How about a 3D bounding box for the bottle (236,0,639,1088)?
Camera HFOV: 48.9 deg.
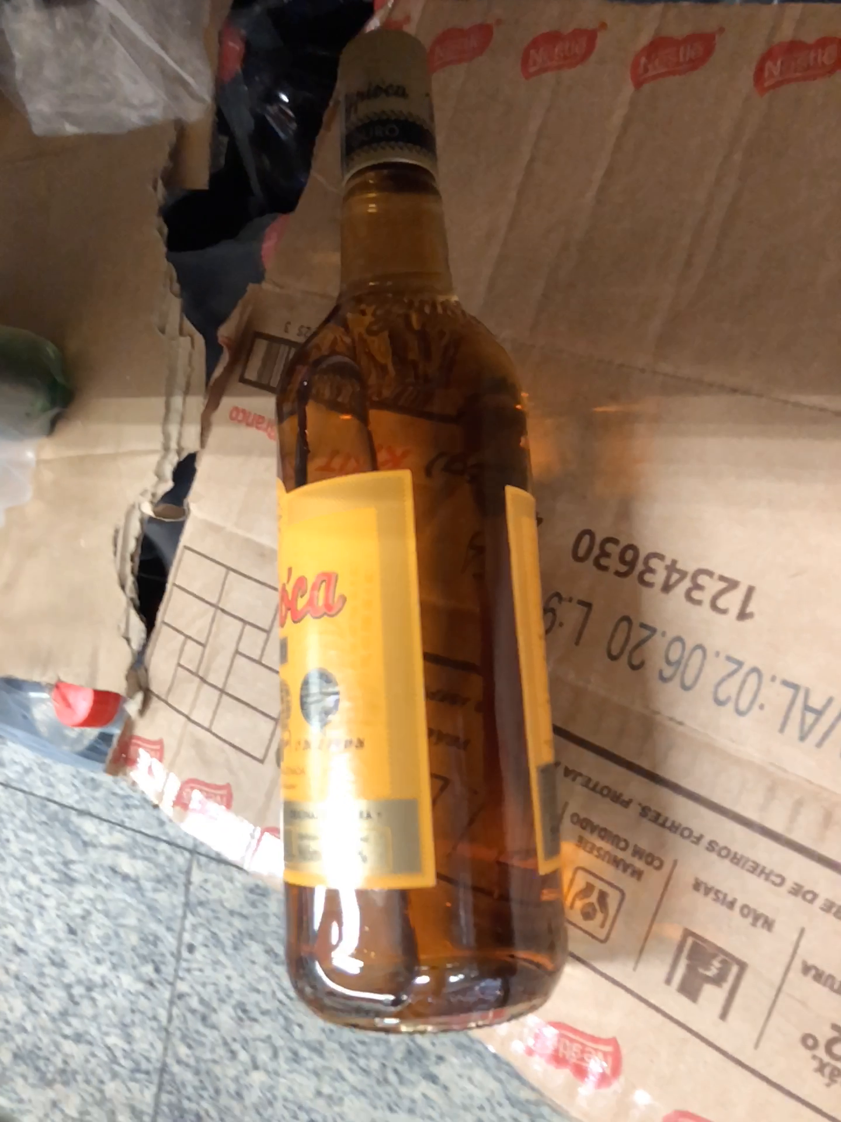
[{"bbox_3d":[-0.005,-0.030,0.277,0.090,0.080,0.310,-1,80,-7],"label":"bottle"}]
